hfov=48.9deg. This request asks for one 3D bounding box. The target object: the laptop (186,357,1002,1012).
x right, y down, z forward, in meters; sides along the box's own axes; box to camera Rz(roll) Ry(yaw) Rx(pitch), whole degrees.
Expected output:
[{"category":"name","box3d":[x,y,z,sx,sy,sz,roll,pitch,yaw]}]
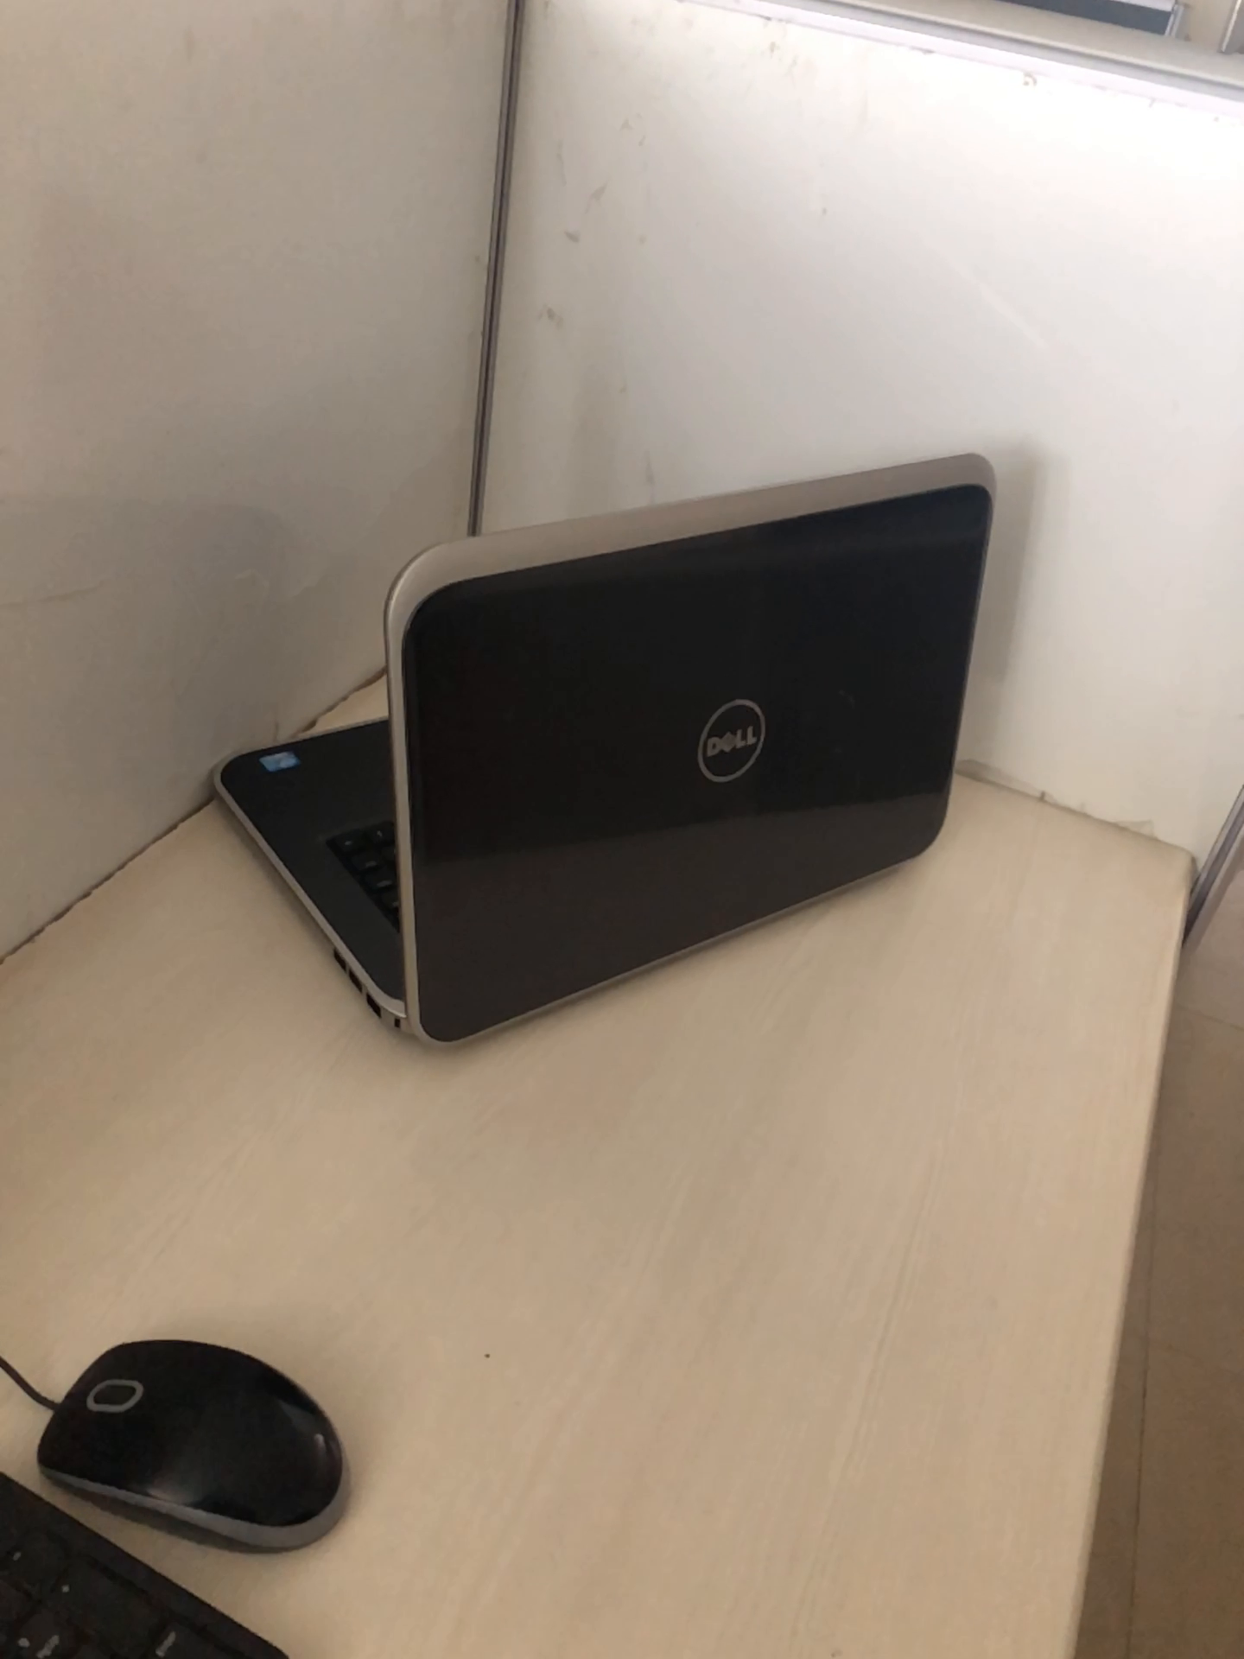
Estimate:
[{"category":"laptop","box3d":[-0.022,-0.105,0.734,0.334,0.217,0.239,-19,42,-36]}]
